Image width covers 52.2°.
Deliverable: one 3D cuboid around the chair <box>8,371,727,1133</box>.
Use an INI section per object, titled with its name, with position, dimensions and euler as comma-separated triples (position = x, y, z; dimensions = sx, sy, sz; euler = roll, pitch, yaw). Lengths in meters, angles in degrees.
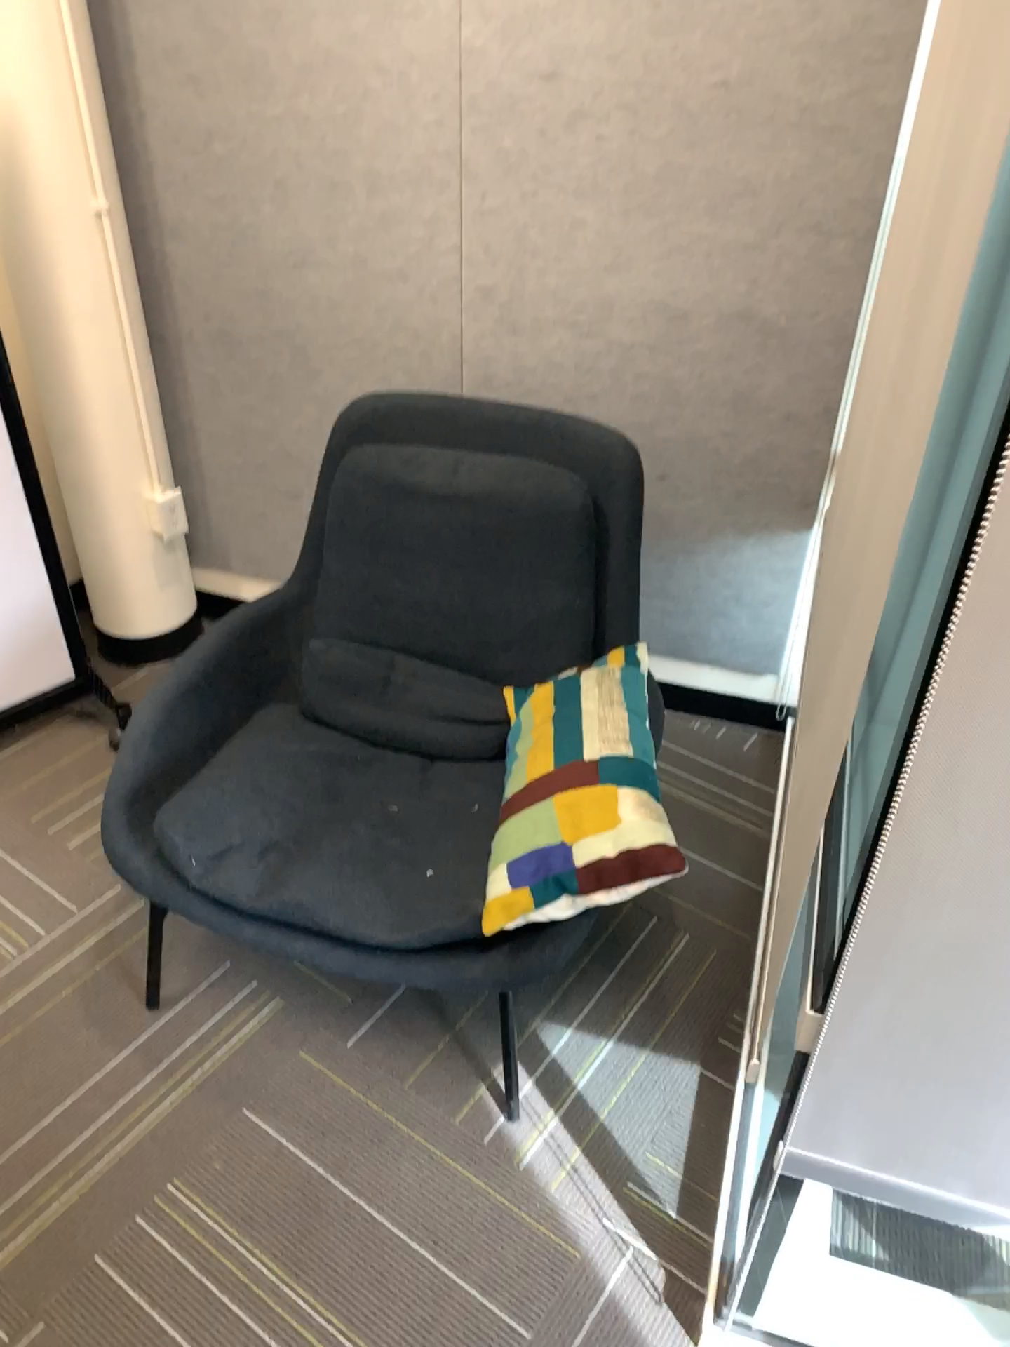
[chair]
position = -0.148, 0.052, 1.946
dimensions = 0.791, 0.815, 1.005
euler = 15, 38, 18
